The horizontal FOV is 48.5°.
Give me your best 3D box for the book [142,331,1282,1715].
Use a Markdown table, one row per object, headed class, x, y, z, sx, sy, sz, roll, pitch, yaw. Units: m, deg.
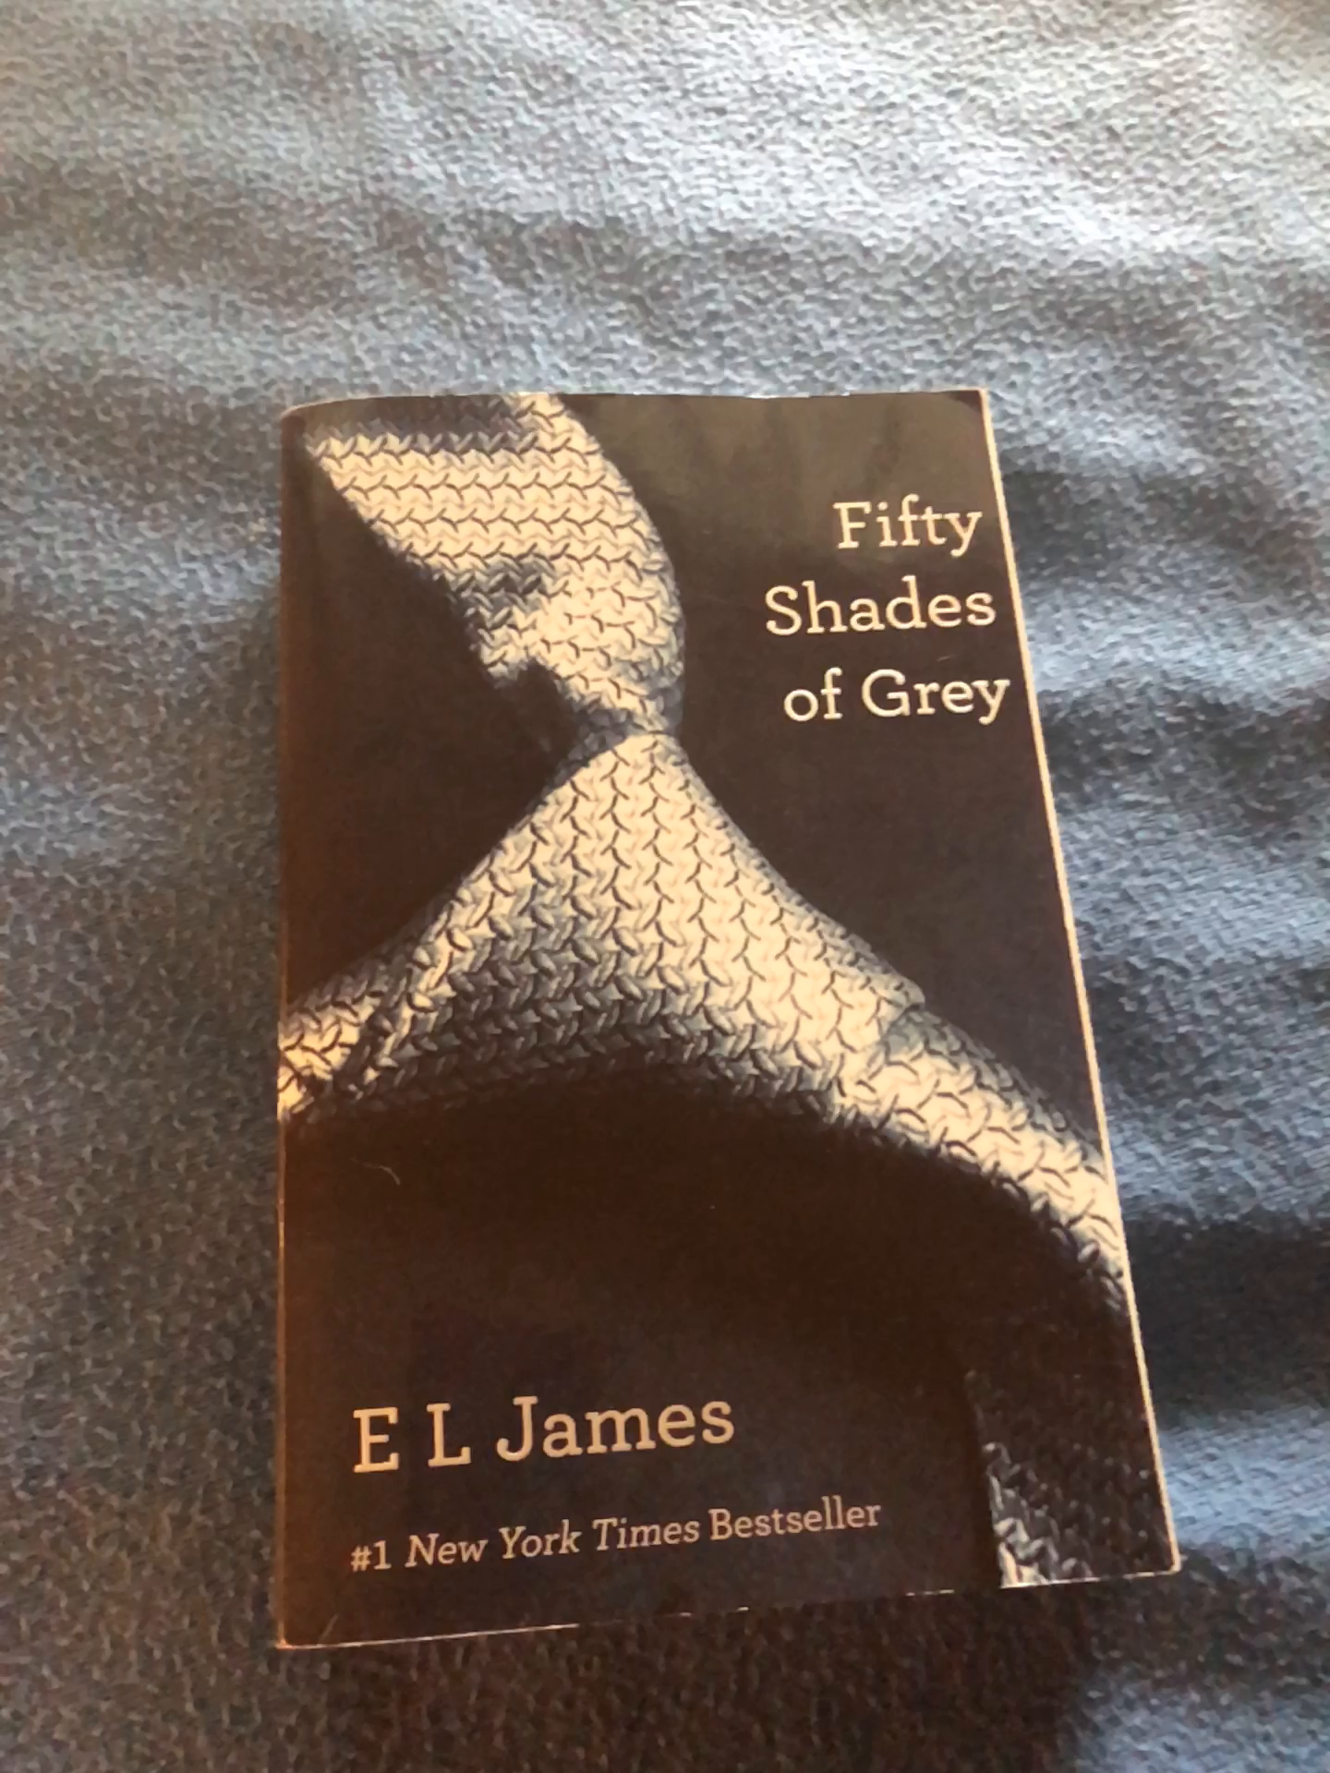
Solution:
| class | x | y | z | sx | sy | sz | roll | pitch | yaw |
| --- | --- | --- | --- | --- | --- | --- | --- | --- | --- |
| book | 0.000 | 0.009 | 0.247 | 0.150 | 0.040 | 0.211 | -3 | 71 | -4 |
